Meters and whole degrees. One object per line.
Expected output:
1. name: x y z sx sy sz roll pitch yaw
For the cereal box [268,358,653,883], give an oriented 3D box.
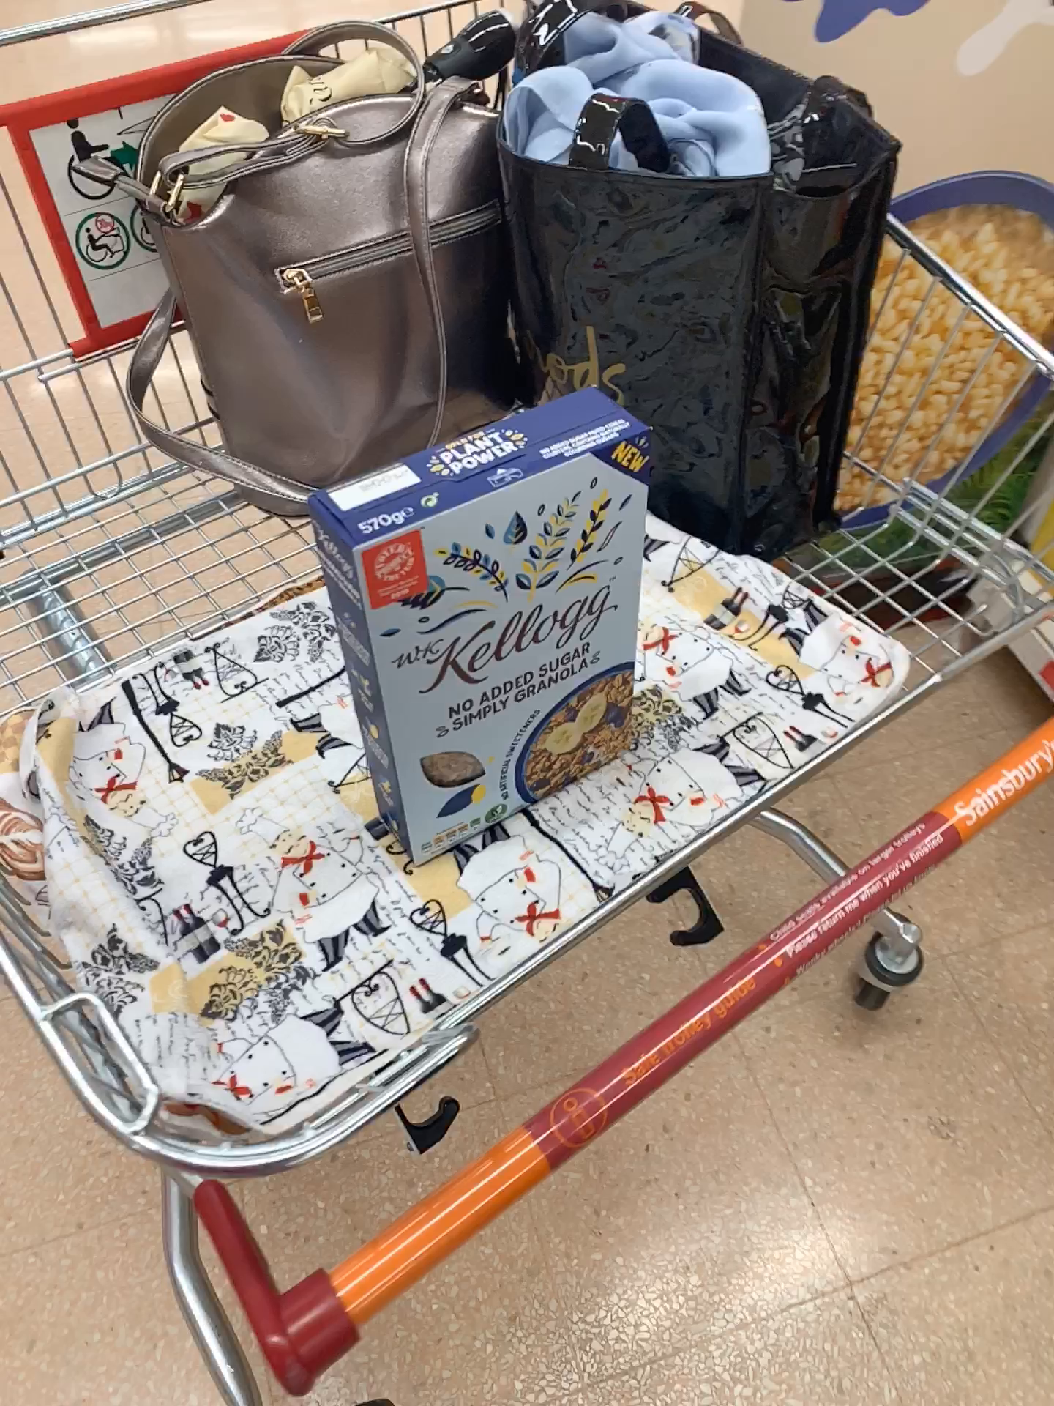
1. cereal box: -0.024 -0.033 0.569 0.170 0.248 0.050 -26 50 -21
